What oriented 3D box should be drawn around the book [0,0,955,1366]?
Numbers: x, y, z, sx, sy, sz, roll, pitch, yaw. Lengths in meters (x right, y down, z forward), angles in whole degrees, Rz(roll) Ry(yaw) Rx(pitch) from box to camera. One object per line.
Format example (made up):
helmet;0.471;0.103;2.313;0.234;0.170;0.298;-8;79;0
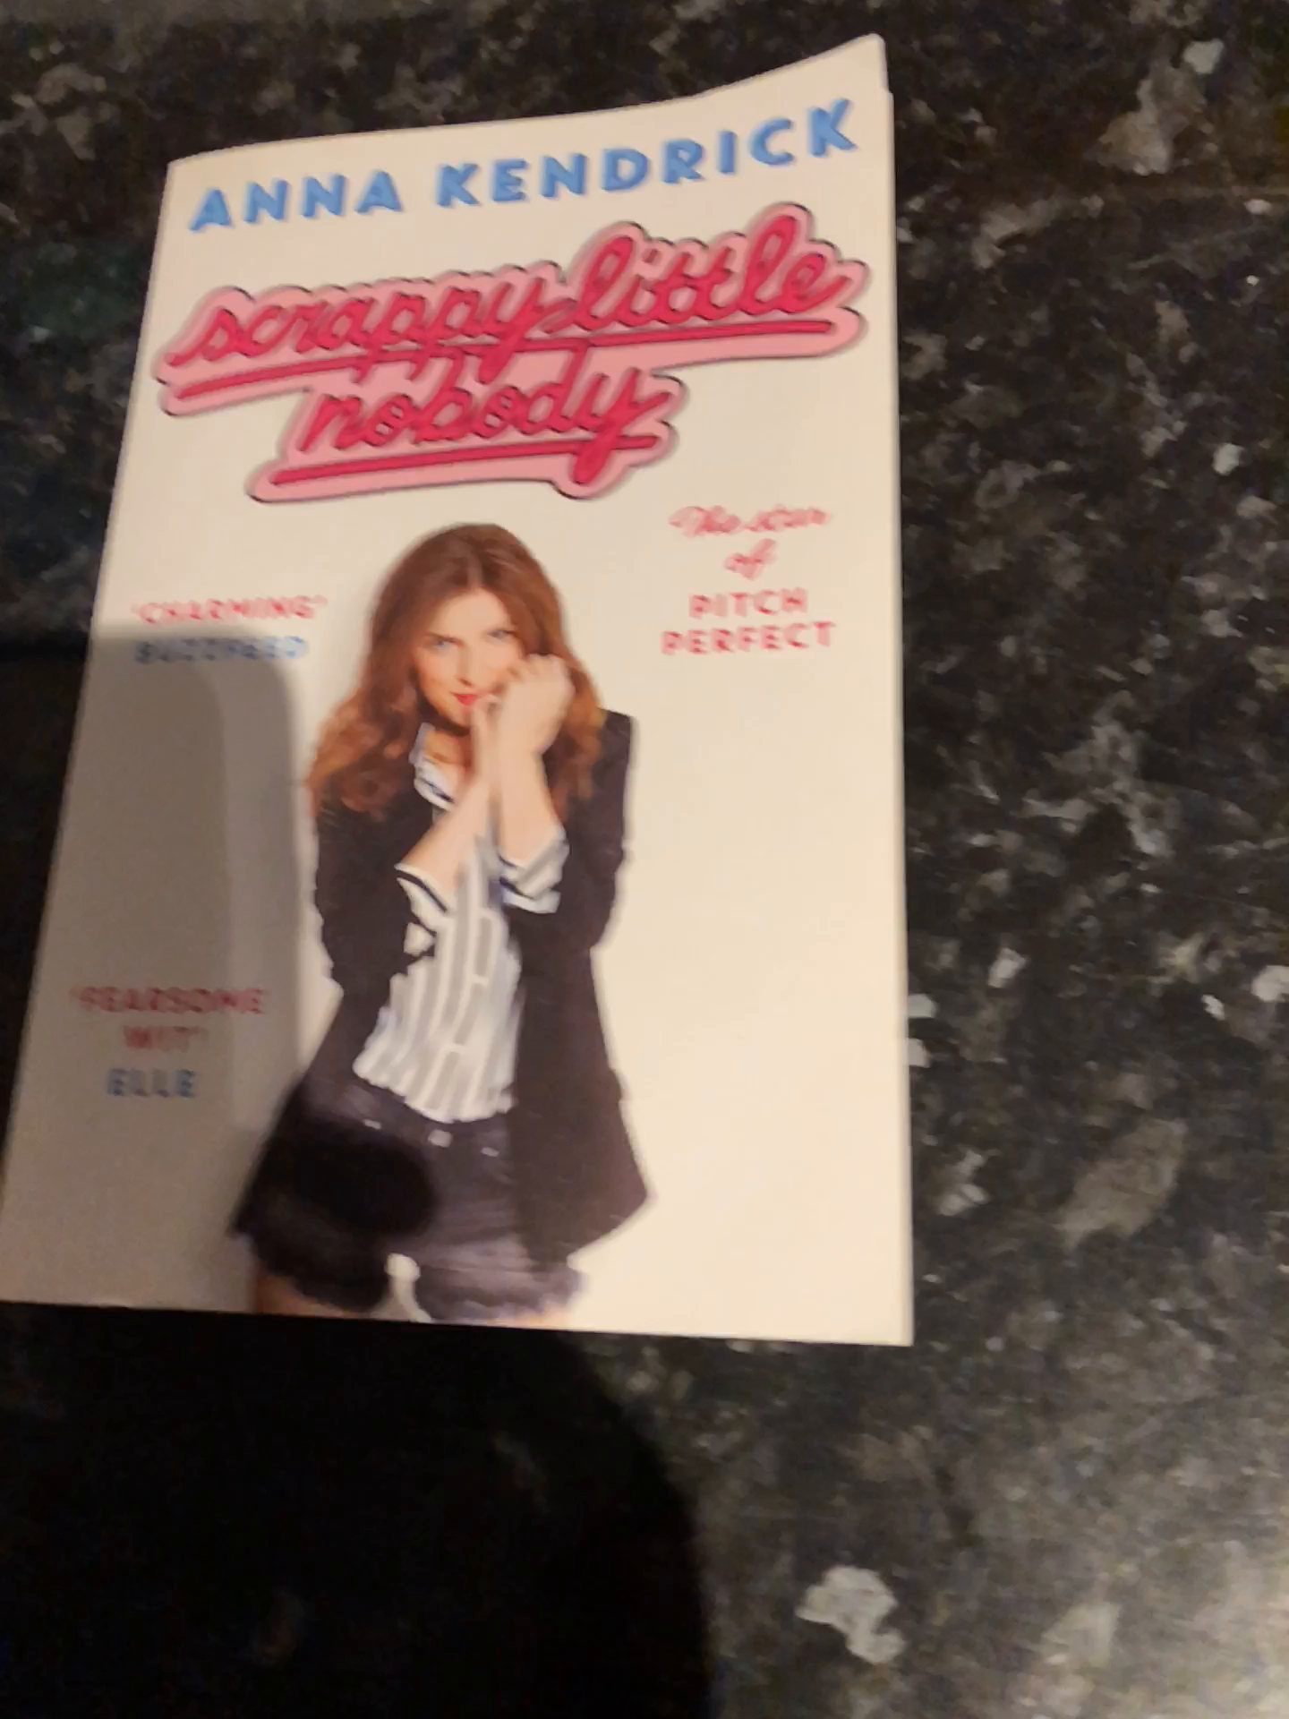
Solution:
book;-0.024;-0.035;0.231;0.140;0.050;0.210;1;72;7
